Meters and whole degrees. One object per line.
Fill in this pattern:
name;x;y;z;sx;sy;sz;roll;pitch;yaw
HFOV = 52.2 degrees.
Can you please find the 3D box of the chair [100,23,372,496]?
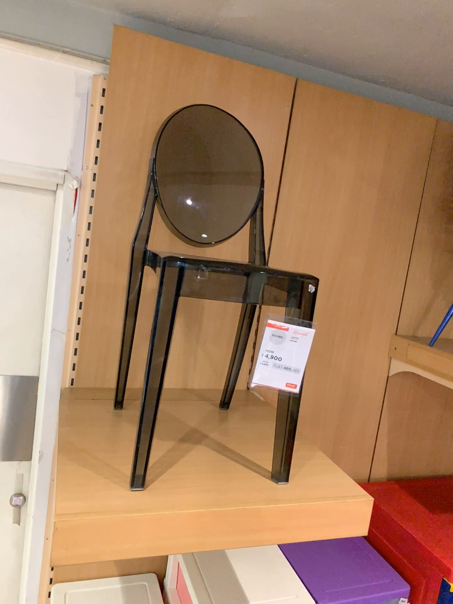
chair;-0.034;-0.074;1.115;0.400;0.849;0.471;5;7;-21
